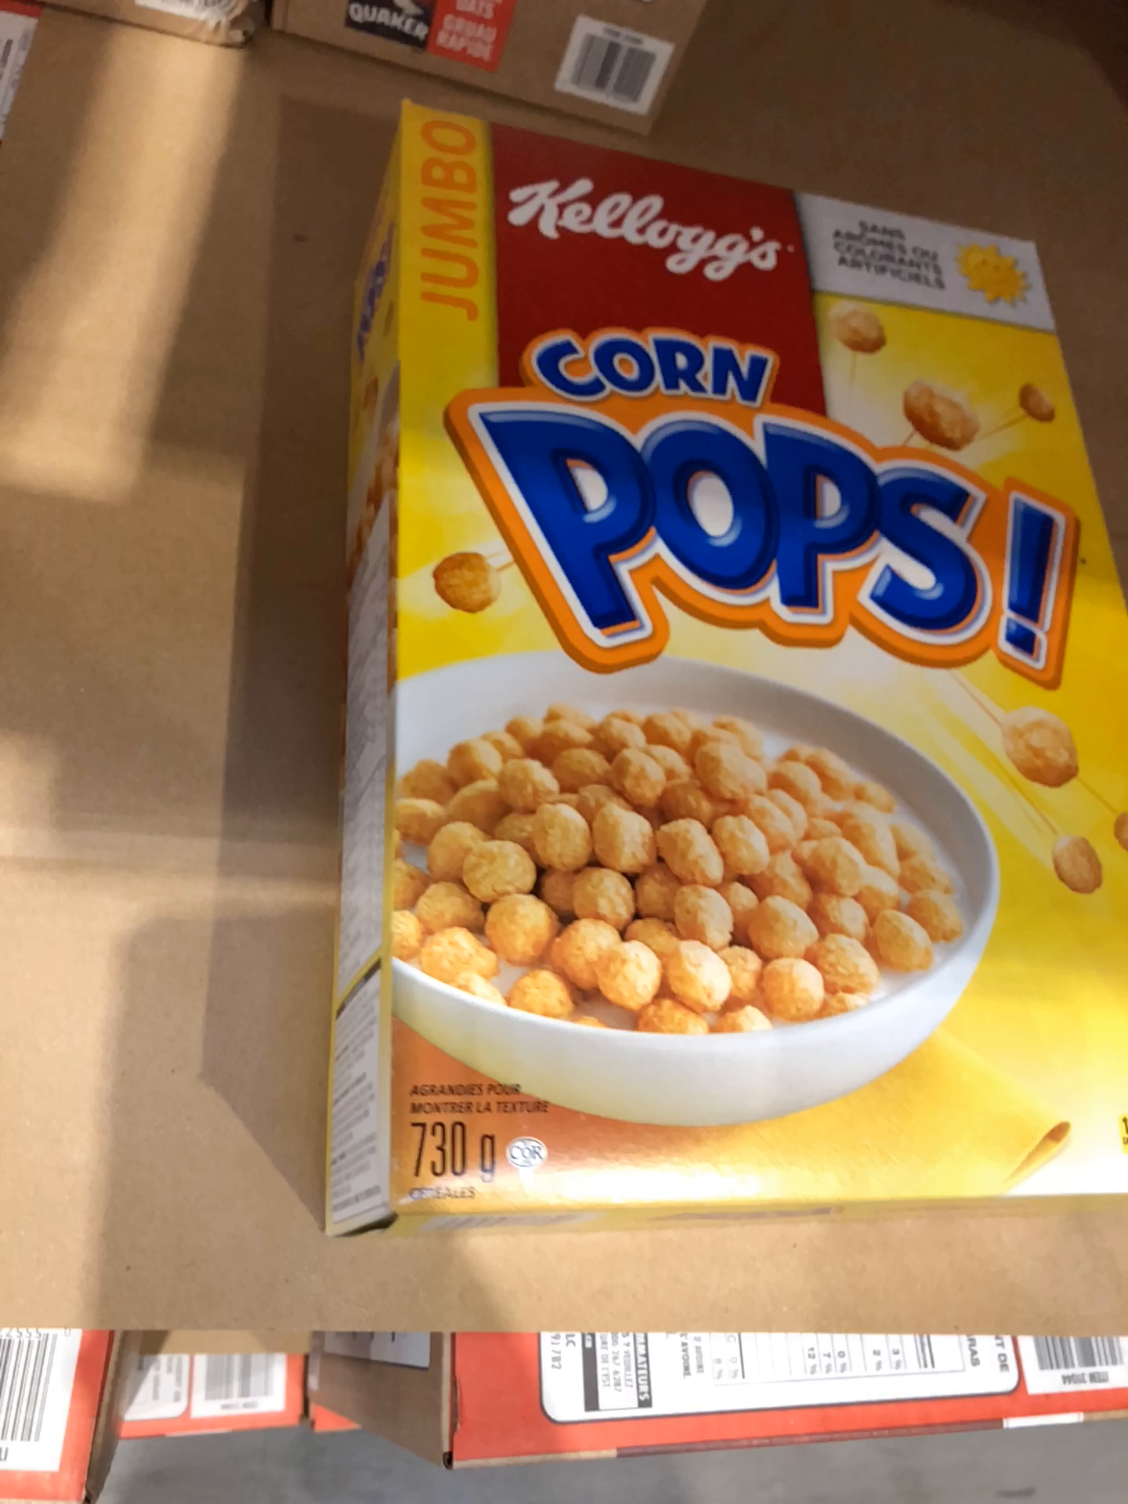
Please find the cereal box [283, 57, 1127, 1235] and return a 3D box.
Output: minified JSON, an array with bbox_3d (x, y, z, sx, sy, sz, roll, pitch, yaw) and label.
[{"bbox_3d":[0.061,-0.032,0.407,0.270,0.100,0.340,5,64,-16],"label":"cereal box"}]
